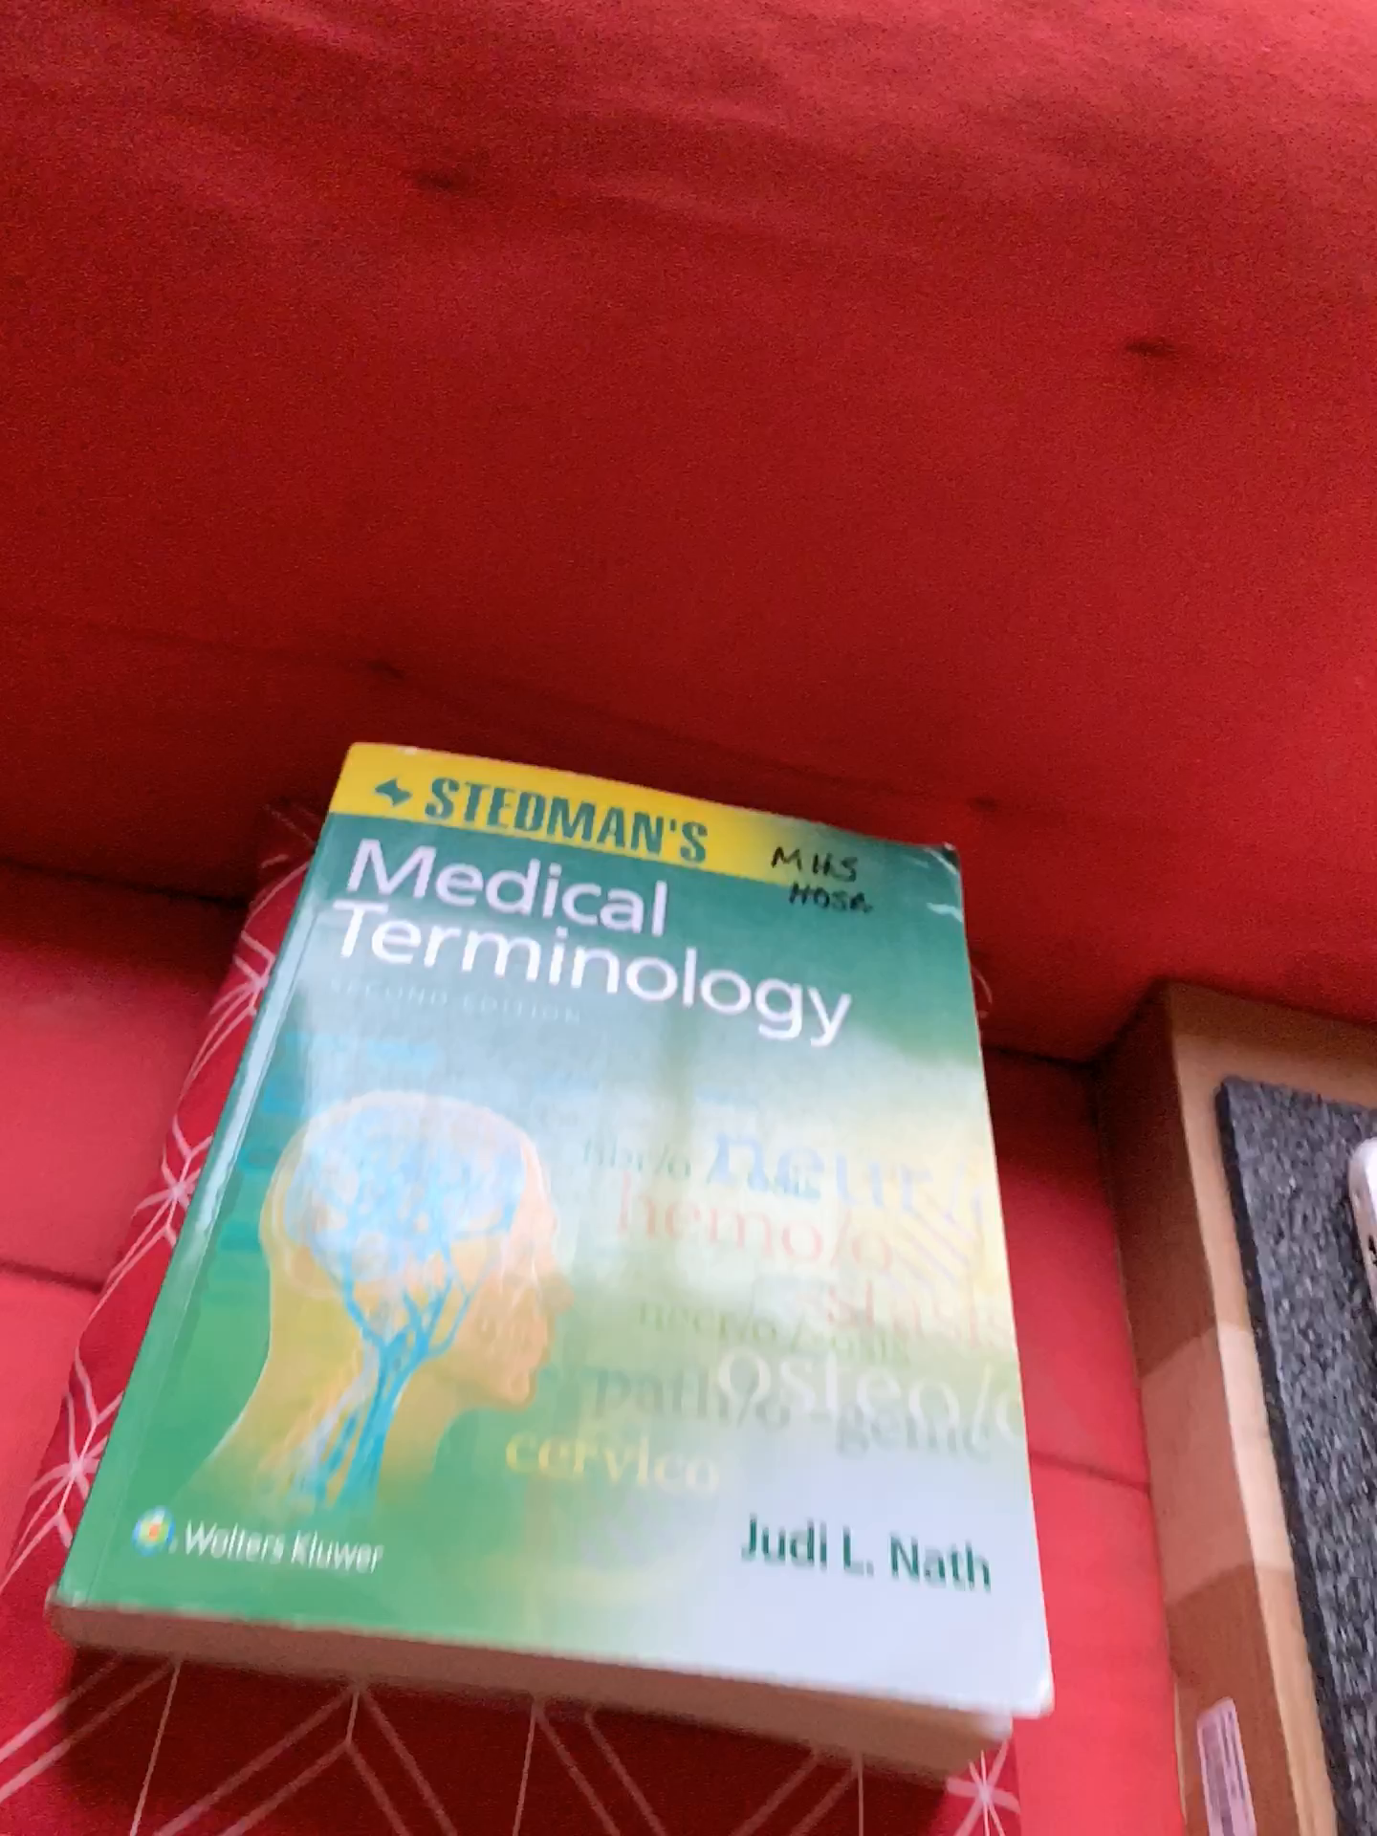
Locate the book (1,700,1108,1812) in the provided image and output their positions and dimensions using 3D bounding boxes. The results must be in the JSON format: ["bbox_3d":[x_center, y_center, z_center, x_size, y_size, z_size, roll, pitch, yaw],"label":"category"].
[{"bbox_3d":[-0.018,0.071,0.420,0.240,0.040,0.301,12,47,-7],"label":"book"}]
